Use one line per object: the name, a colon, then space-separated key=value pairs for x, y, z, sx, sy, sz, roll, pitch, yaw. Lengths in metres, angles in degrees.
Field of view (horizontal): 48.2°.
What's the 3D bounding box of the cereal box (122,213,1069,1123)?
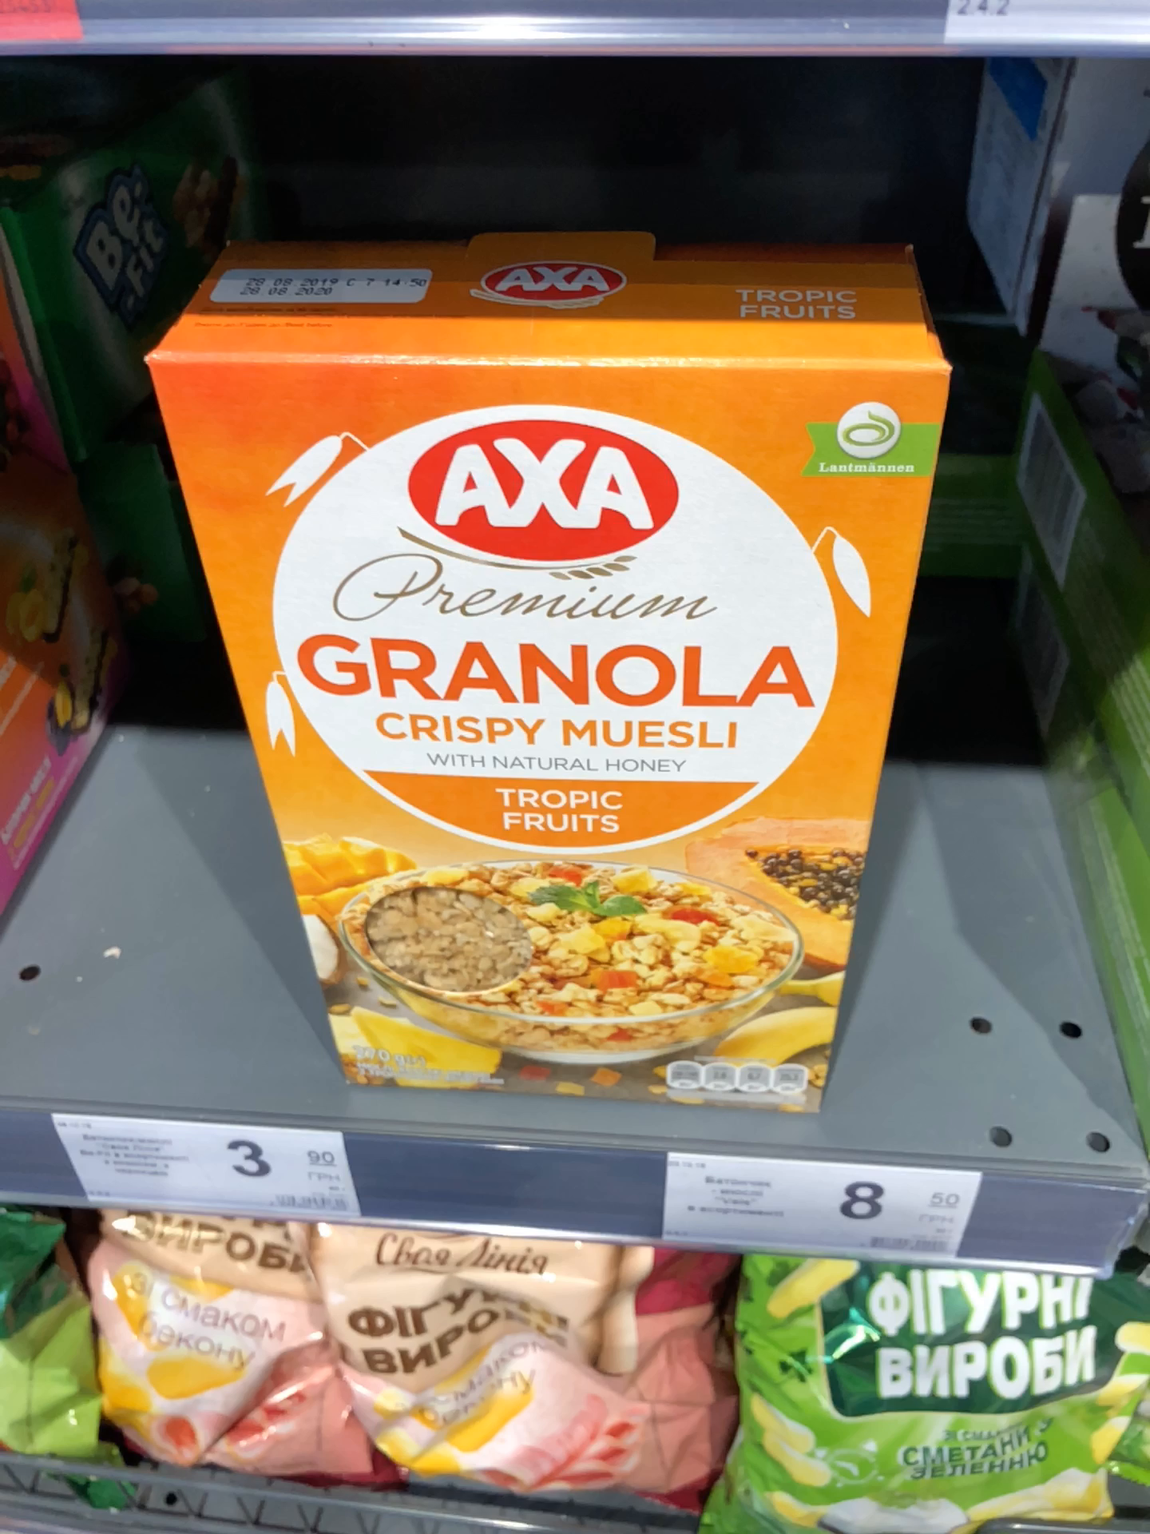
cereal box: x=0.005 y=-0.004 z=0.280 sx=0.140 sy=0.208 sz=0.050 roll=2 pitch=44 yaw=4
